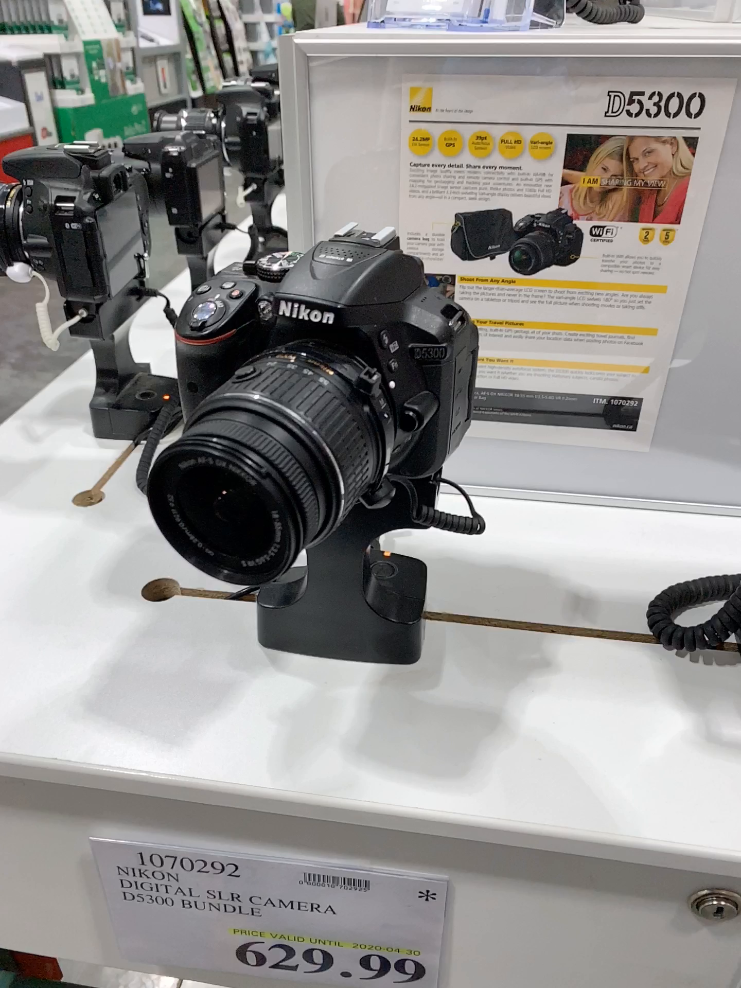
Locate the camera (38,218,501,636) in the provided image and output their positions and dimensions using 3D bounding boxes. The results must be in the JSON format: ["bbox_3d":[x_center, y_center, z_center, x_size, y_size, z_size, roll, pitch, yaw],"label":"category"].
[{"bbox_3d":[-0.025,-0.042,0.314,0.120,0.099,0.151,11,33,17],"label":"camera"}]
